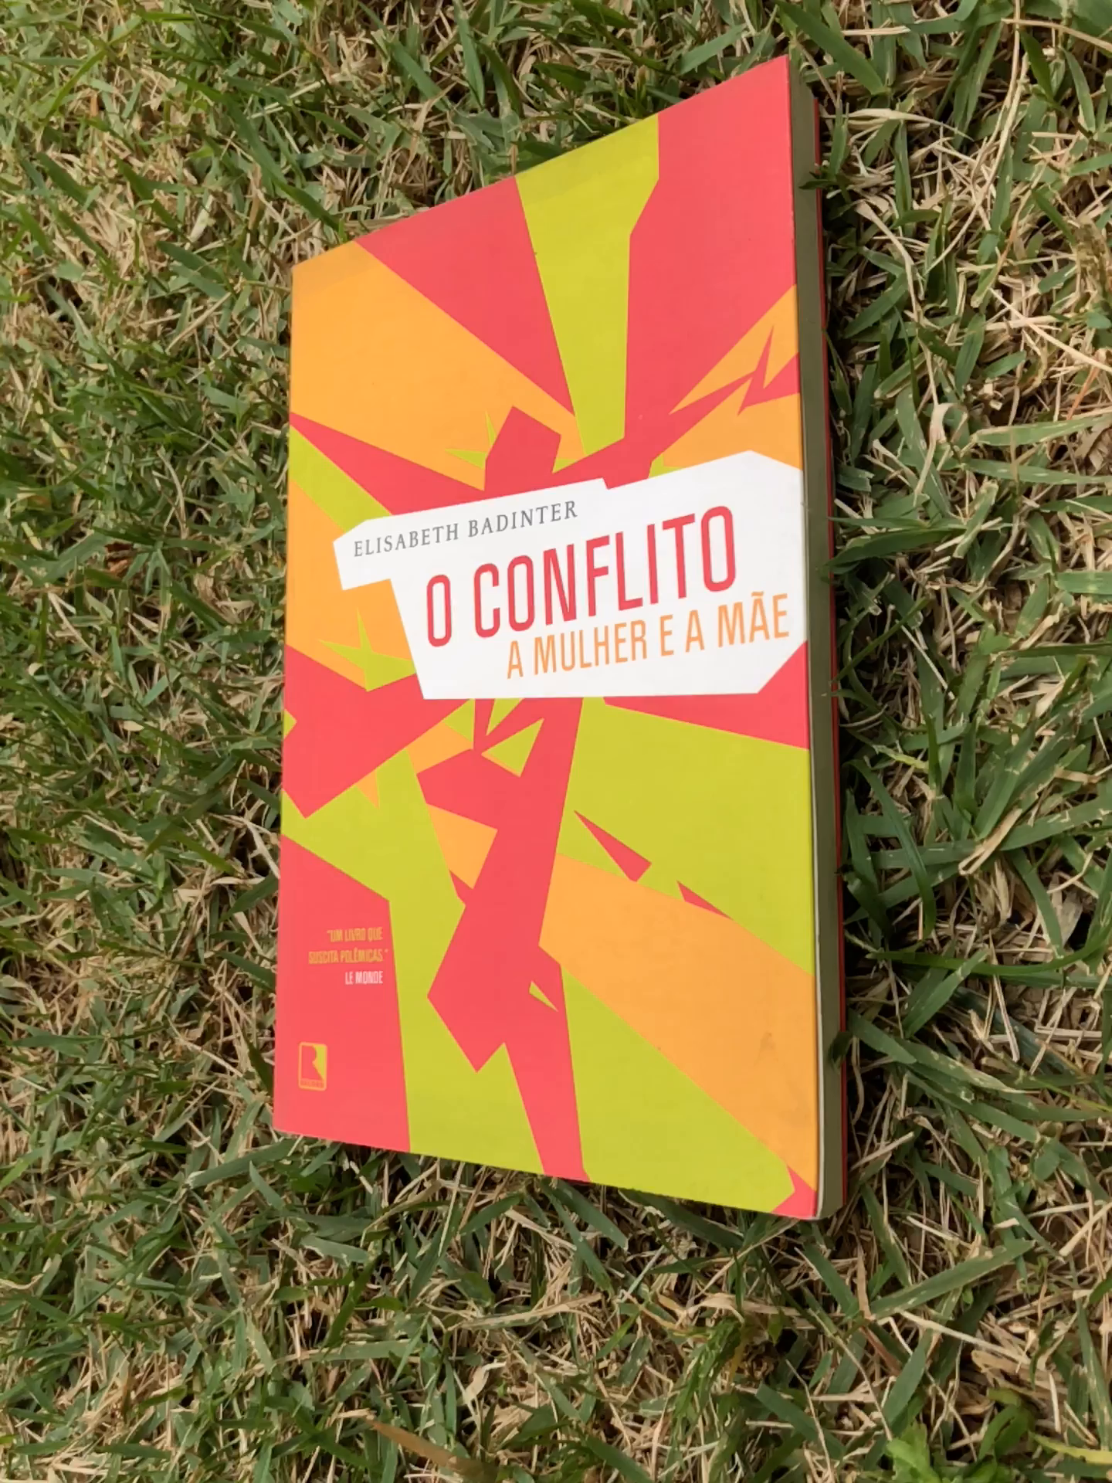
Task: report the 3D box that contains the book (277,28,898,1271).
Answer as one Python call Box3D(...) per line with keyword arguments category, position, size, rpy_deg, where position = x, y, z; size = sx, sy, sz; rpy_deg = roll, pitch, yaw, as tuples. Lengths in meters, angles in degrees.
Box3D(category="book", position=(-0.002, -0.015, 0.244), size=(0.130, 0.020, 0.200), rpy_deg=(-4, 83, 37))
